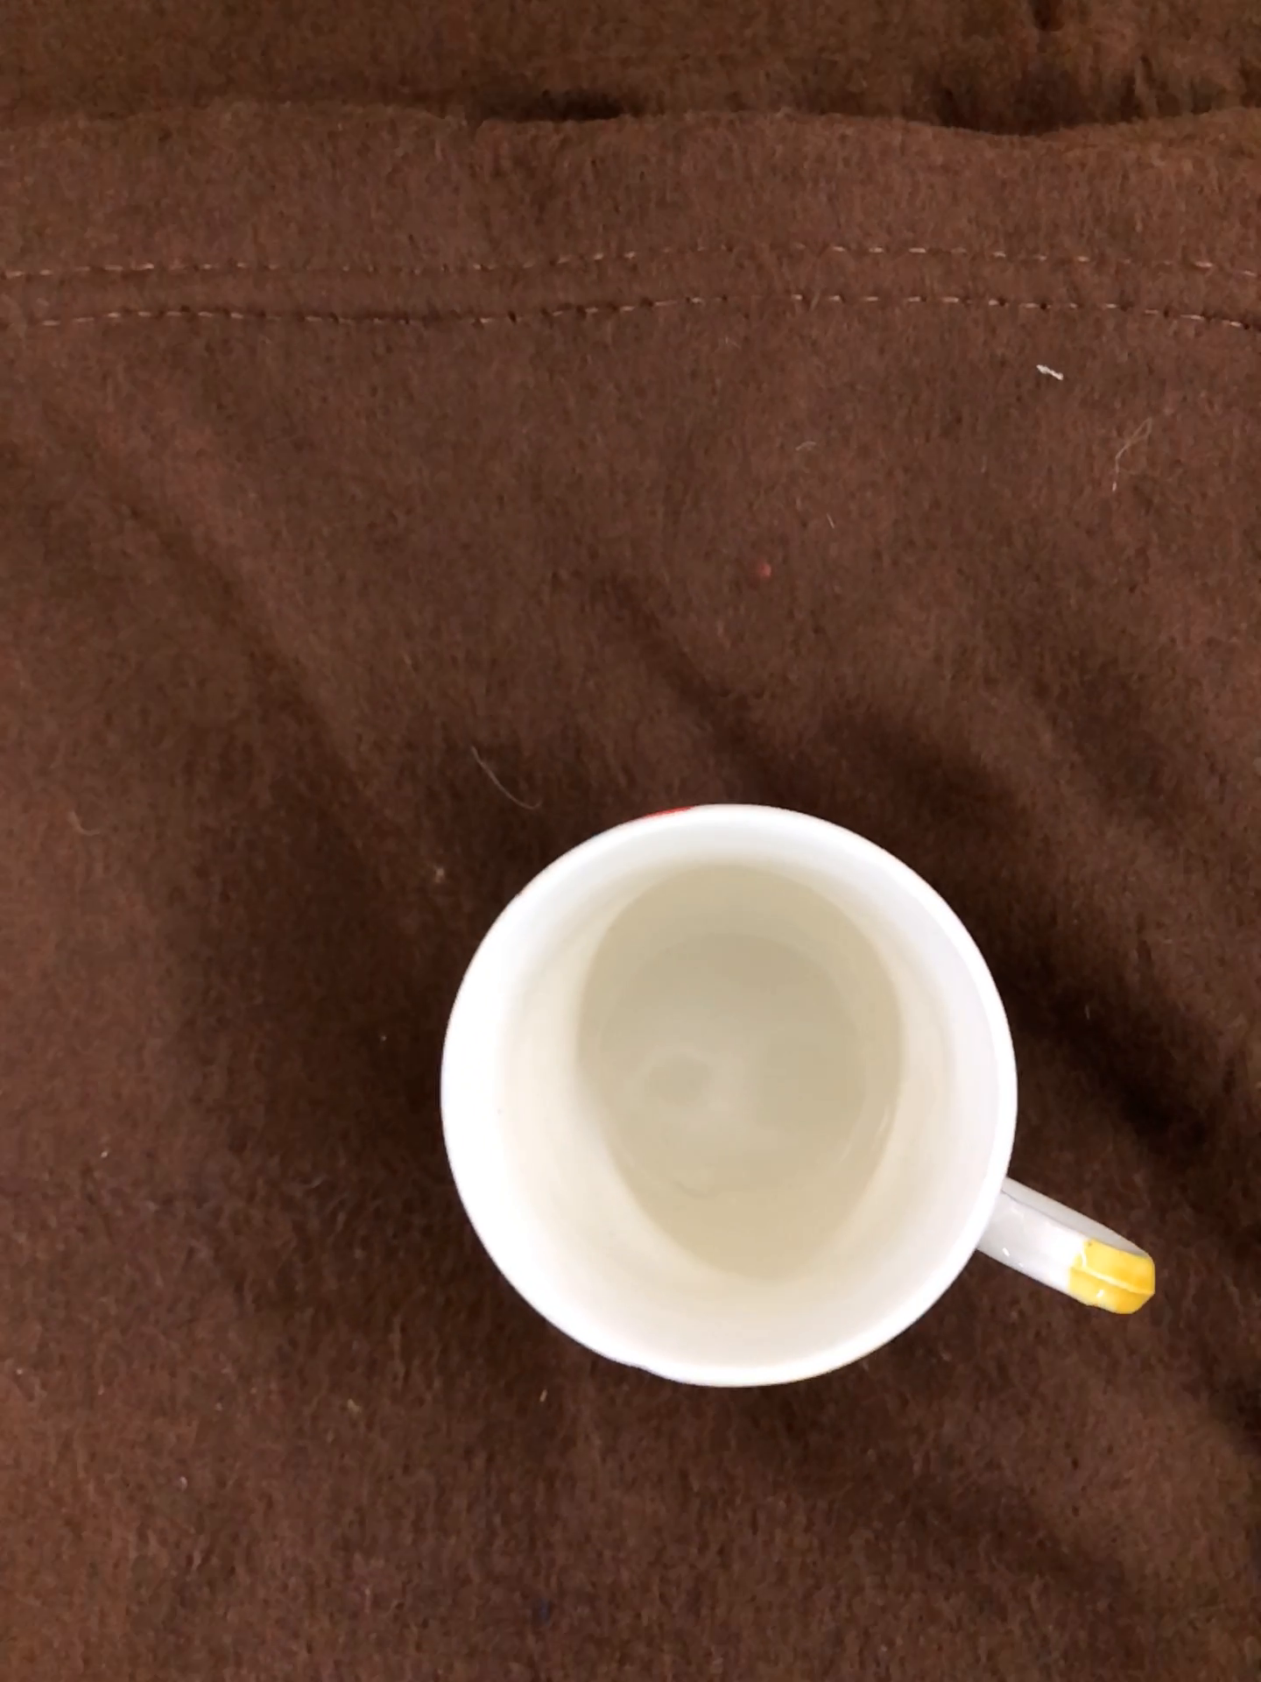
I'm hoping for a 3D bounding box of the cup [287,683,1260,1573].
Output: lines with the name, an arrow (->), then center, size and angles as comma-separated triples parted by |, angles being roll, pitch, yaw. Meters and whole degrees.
cup -> 0.019, 0.031, 0.177 | 0.090, 0.060, 0.060 | 23, 86, 6
